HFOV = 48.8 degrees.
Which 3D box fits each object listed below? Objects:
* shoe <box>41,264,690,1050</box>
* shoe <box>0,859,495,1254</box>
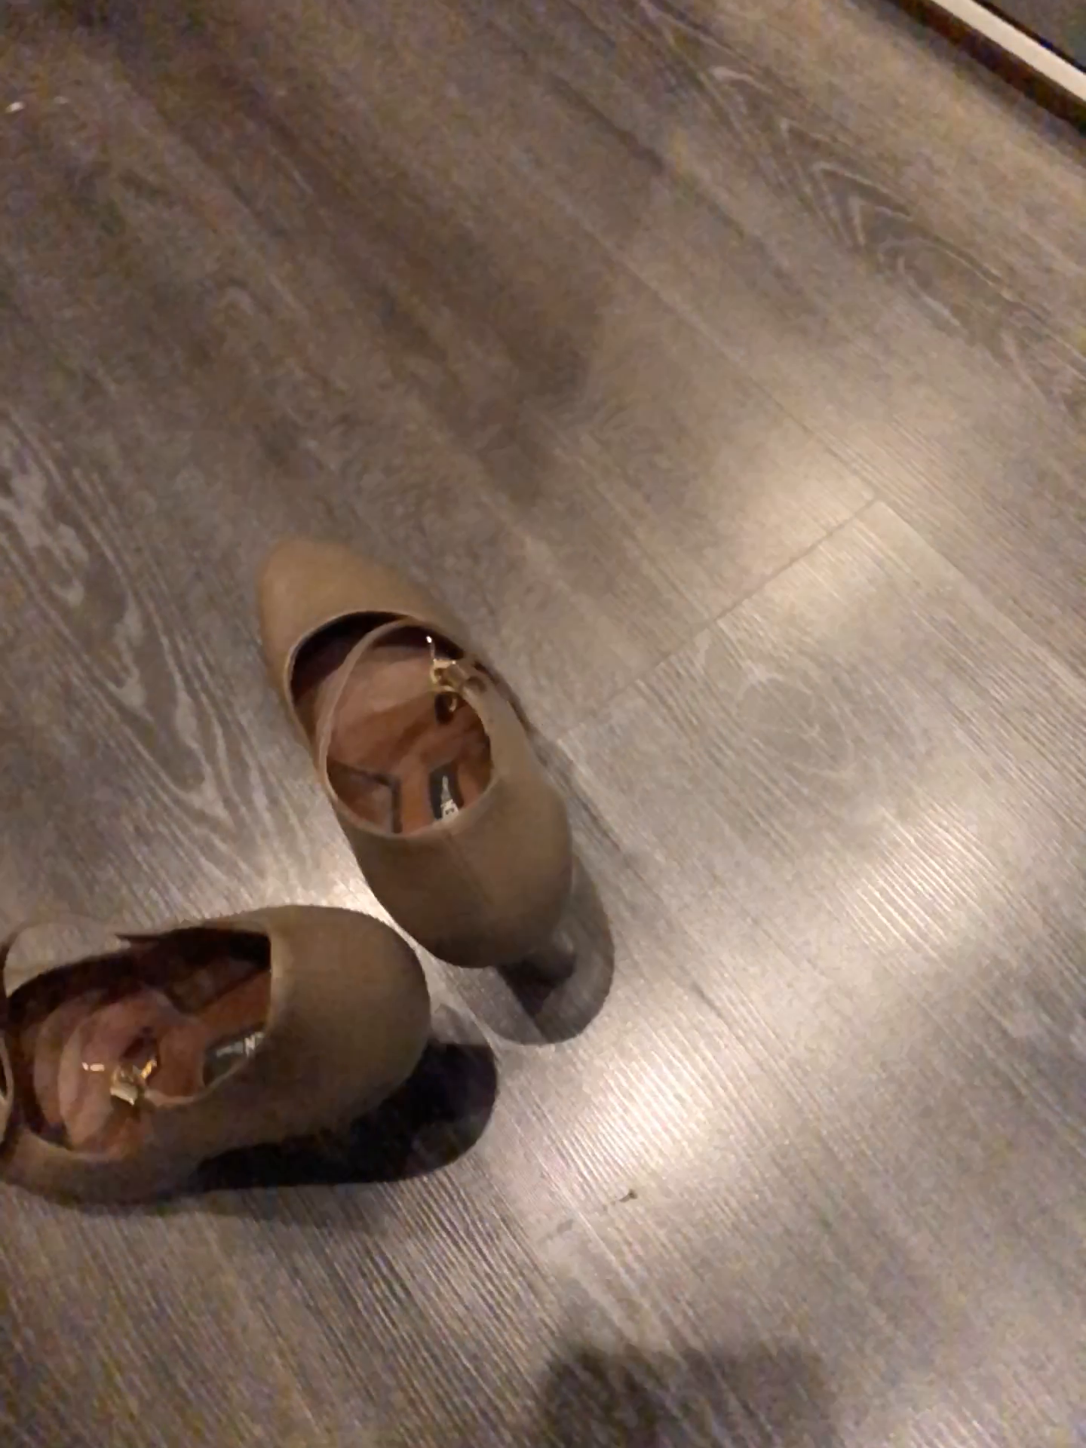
[{"bbox_3d":[-0.050,-0.015,0.404,0.090,0.150,0.210,-34,68,-7],"label":"shoe"},{"bbox_3d":[-0.132,0.105,0.363,0.210,0.150,0.090,-1,68,7],"label":"shoe"}]
